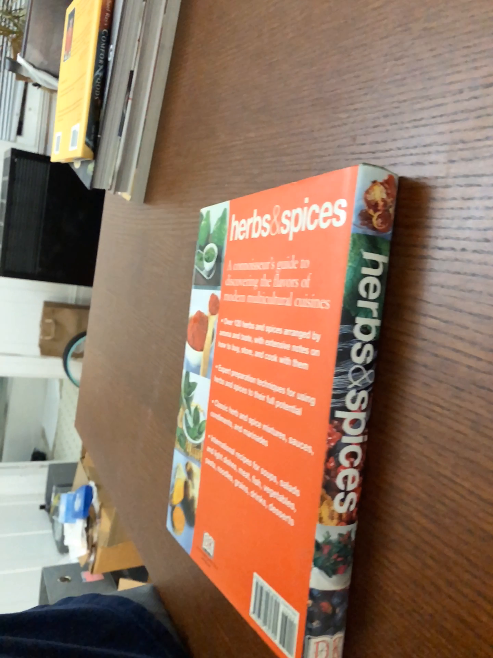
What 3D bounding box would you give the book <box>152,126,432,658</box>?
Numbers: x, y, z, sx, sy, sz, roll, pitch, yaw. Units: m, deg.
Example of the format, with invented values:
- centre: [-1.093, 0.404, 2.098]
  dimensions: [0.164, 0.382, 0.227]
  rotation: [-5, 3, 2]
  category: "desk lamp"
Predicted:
- centre: [0.006, 0.035, 0.352]
  dimensions: [0.211, 0.040, 0.270]
  rotation: [11, 95, 61]
  category: "book"
